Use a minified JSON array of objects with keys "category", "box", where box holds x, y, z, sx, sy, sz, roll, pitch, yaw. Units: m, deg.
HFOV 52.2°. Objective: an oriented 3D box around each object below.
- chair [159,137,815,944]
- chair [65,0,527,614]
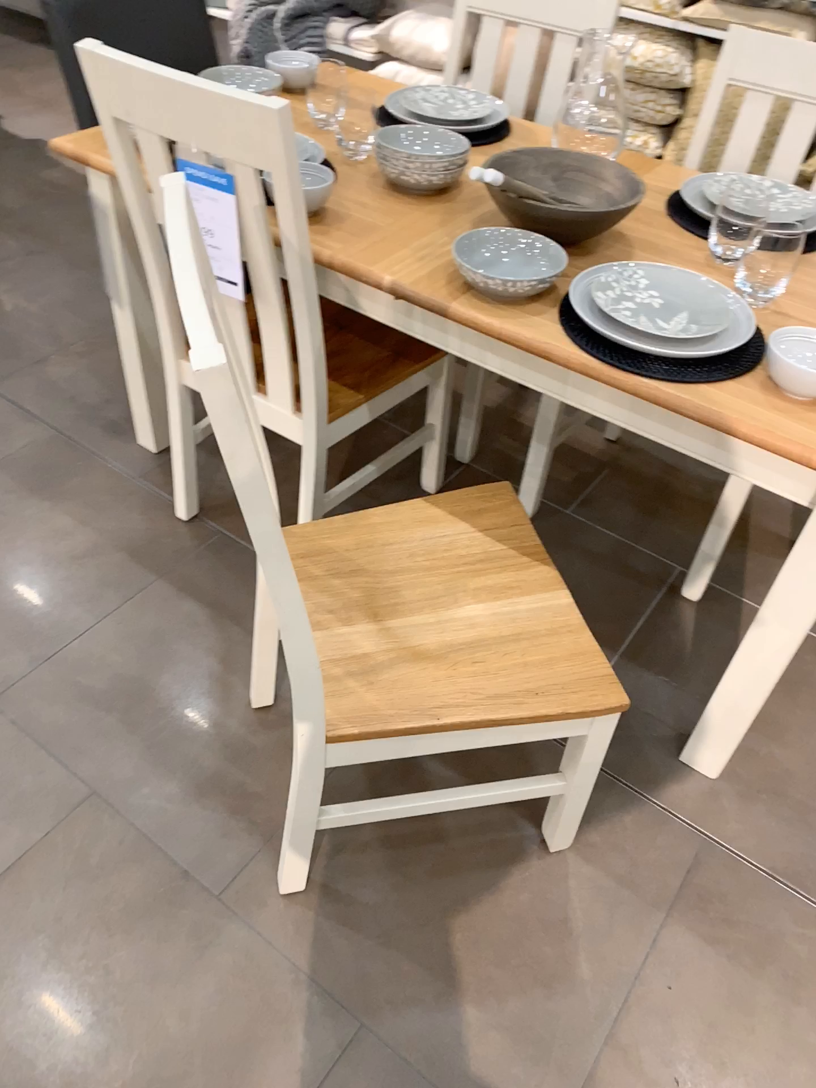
[{"category":"chair","box":[0.024,0.033,1.123,0.546,0.925,0.506,-8,45,-14]},{"category":"chair","box":[-0.189,-0.442,1.611,0.473,0.925,0.539,31,49,24]}]
